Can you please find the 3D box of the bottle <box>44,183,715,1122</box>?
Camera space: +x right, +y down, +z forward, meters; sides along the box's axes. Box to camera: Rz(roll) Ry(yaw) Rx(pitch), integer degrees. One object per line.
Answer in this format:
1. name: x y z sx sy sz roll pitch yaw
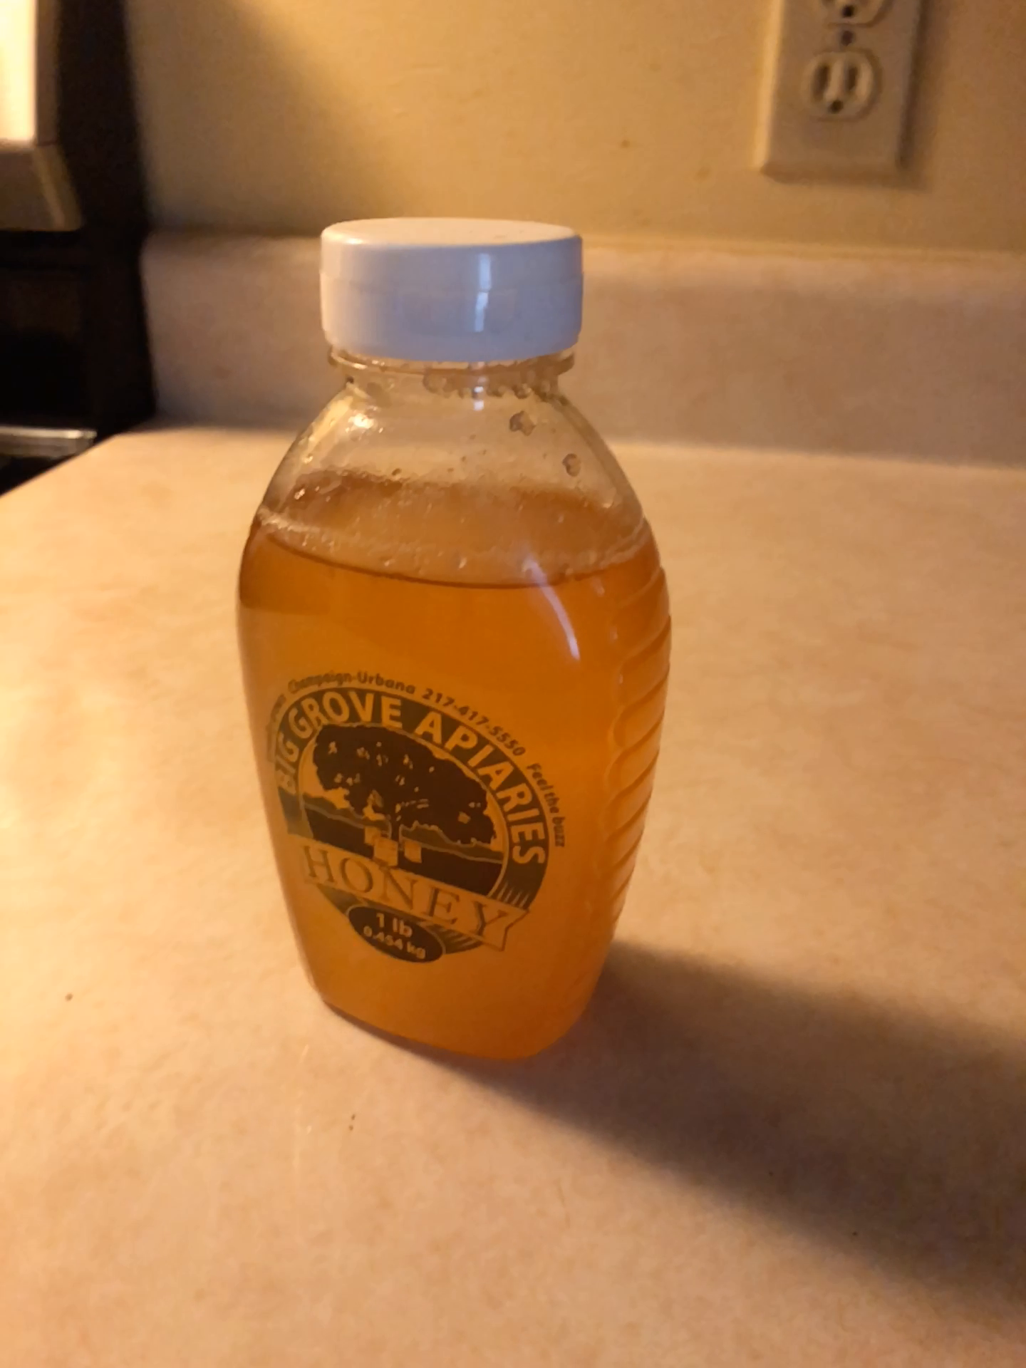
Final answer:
1. bottle: -0.017 -0.009 0.201 0.080 0.140 0.060 11 27 19
